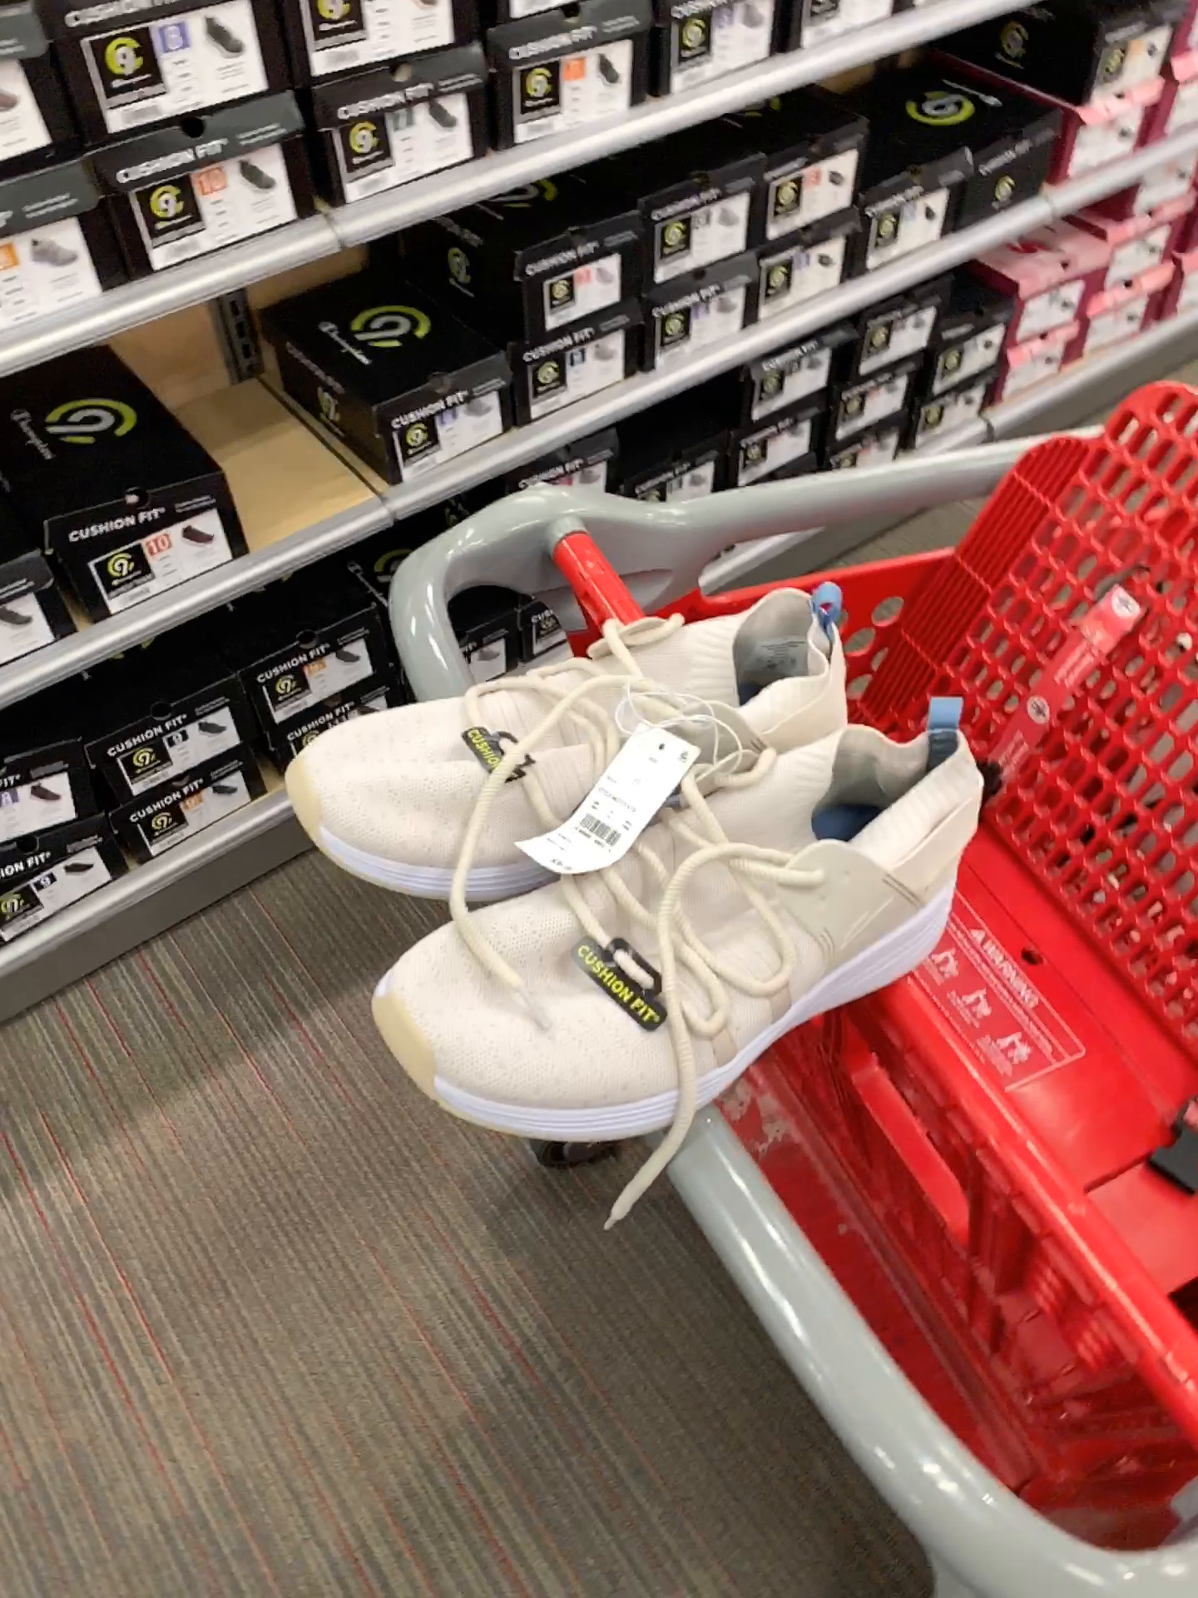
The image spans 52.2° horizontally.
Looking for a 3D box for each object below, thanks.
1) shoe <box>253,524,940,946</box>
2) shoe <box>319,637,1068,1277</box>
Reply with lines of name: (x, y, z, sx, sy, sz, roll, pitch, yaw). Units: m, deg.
shoe: (-0.001, -0.040, 0.564, 0.280, 0.110, 0.110, -11, 51, -29)
shoe: (0.042, 0.046, 0.491, 0.280, 0.110, 0.110, -23, 54, -33)
